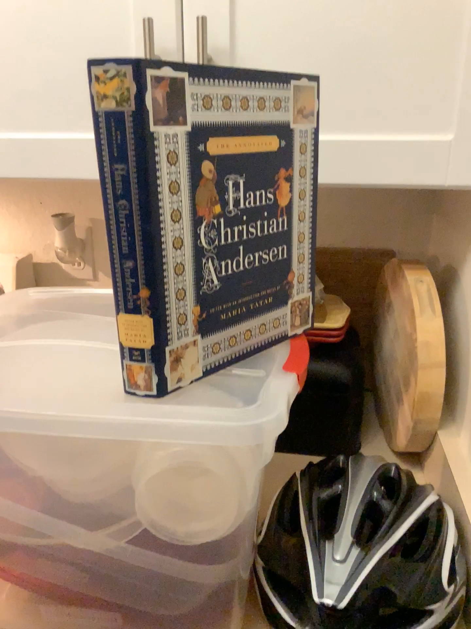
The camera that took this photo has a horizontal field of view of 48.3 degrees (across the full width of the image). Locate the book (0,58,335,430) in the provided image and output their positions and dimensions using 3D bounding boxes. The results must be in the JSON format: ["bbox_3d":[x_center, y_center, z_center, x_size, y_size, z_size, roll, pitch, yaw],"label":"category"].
[{"bbox_3d":[-0.037,-0.086,0.502,0.200,0.260,0.250,8,22,18],"label":"book"}]
